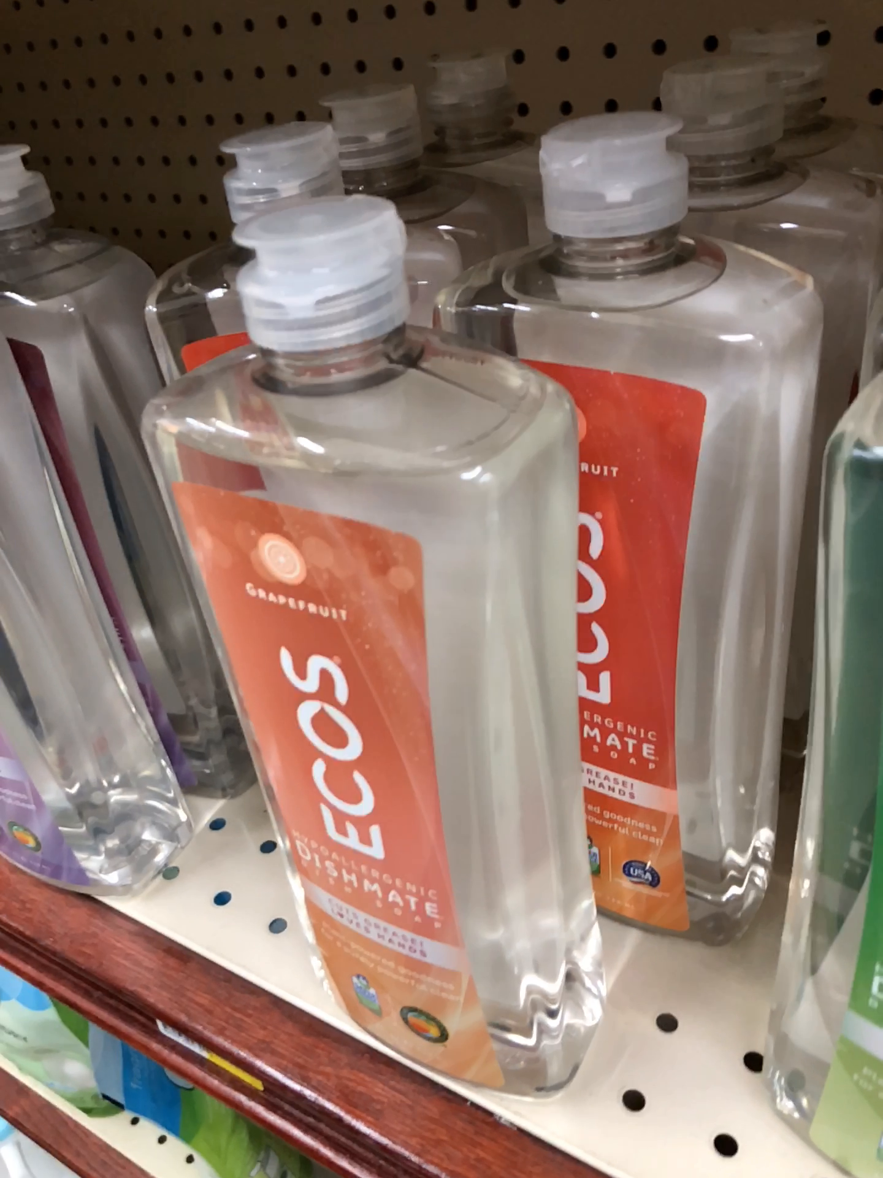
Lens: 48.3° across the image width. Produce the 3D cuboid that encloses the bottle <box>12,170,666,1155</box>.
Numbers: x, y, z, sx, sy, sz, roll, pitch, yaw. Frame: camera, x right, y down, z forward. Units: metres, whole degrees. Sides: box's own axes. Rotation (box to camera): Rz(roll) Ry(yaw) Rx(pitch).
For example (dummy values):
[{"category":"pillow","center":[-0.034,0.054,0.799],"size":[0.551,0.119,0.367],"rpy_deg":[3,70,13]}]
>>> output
[{"category":"bottle","center":[-0.004,0.029,0.220],"size":[0.092,0.219,0.050],"rpy_deg":[14,42,29]}]
